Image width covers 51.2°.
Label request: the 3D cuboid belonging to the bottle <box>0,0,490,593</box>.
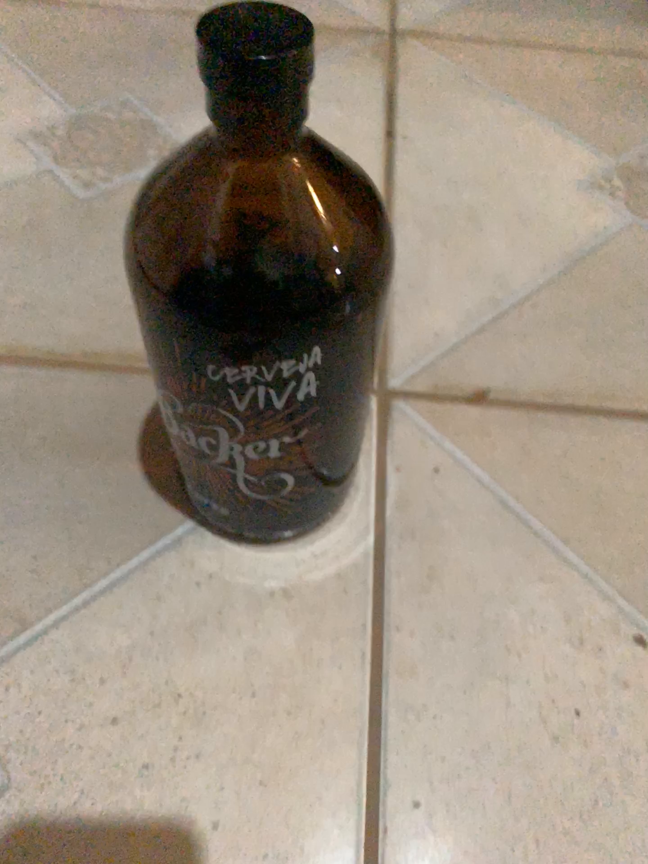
[{"bbox_3d":[-0.028,-0.042,0.251,0.100,0.209,0.090,33,62,19],"label":"bottle"}]
